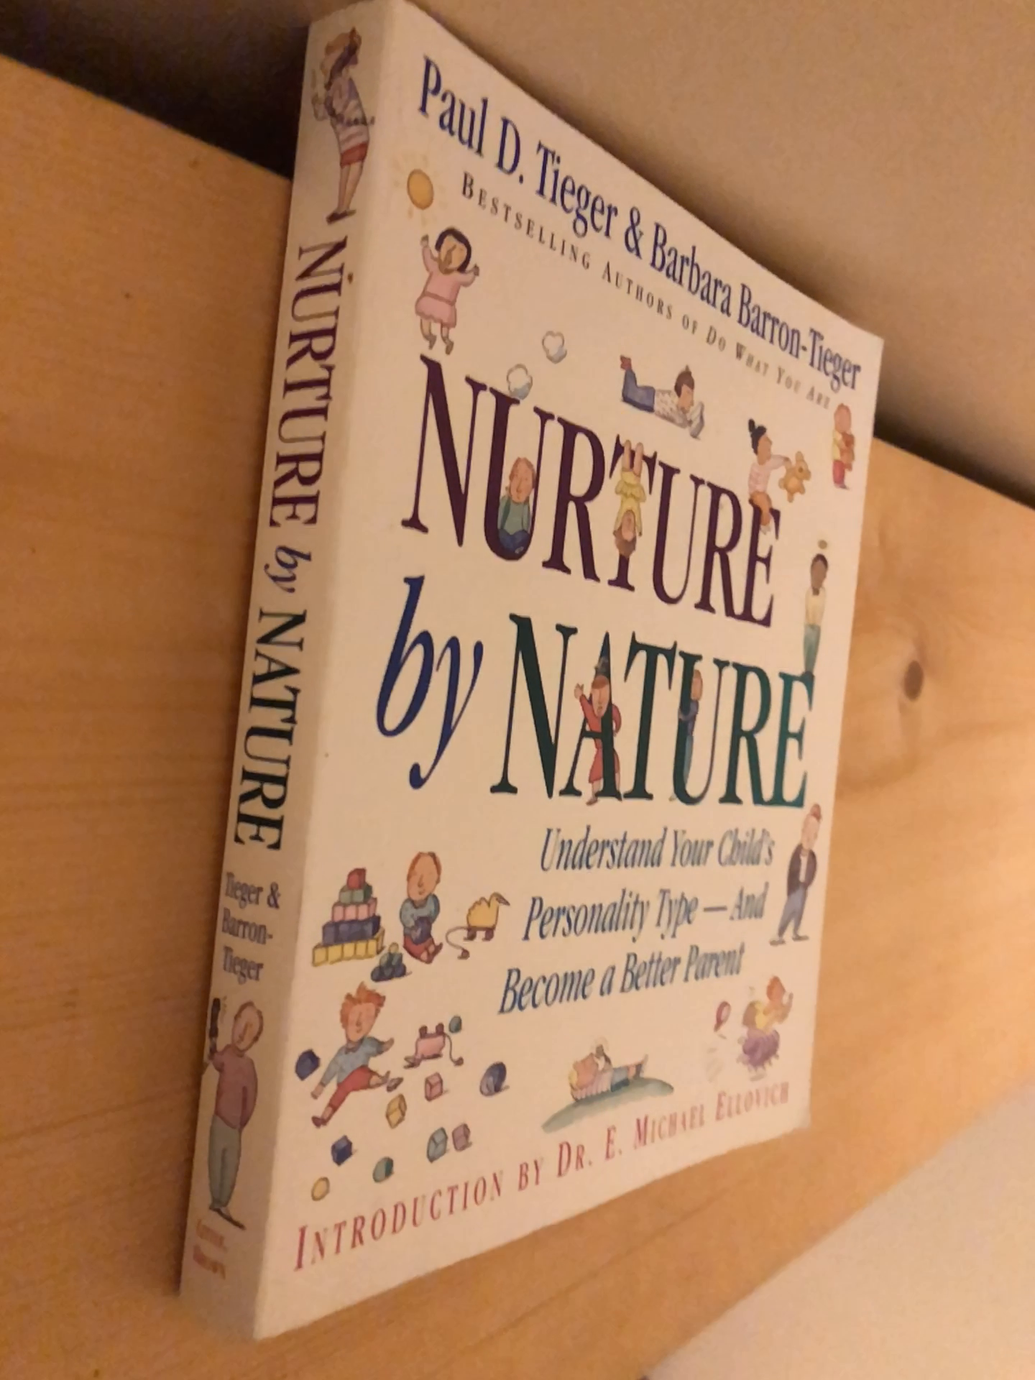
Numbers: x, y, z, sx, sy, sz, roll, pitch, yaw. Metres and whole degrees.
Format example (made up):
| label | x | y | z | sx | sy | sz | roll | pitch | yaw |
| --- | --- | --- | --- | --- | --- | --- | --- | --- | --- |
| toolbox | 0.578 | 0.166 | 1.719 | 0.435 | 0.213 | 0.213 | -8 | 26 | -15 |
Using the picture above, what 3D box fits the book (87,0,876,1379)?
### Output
| label | x | y | z | sx | sy | sz | roll | pitch | yaw |
| --- | --- | --- | --- | --- | --- | --- | --- | --- | --- |
| book | 0.015 | 0.000 | 0.271 | 0.201 | 0.040 | 0.250 | 8 | 86 | -49 |
